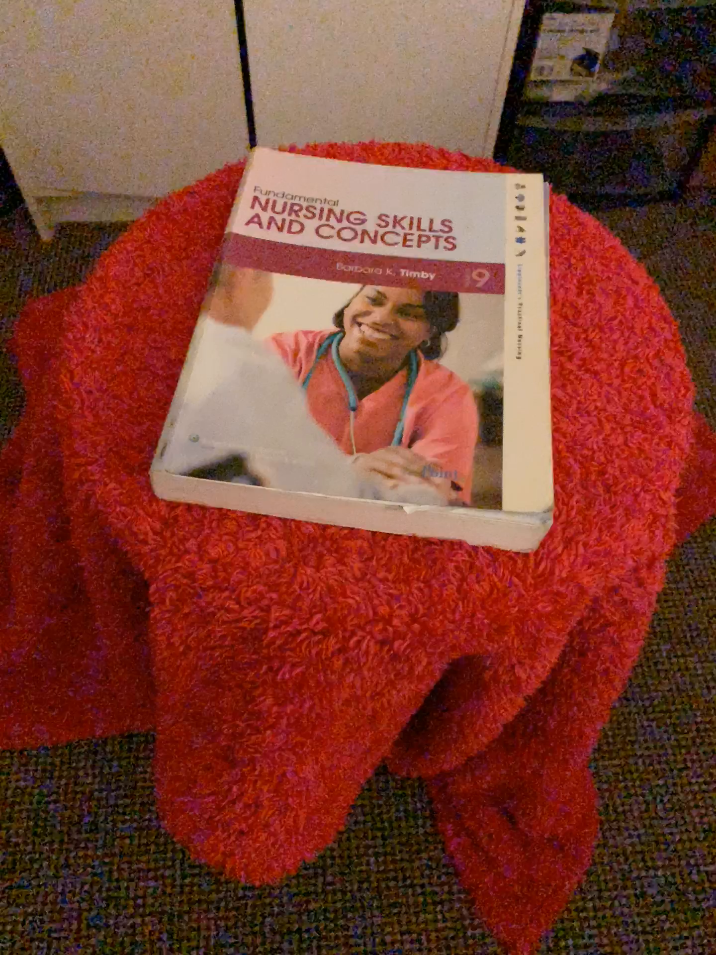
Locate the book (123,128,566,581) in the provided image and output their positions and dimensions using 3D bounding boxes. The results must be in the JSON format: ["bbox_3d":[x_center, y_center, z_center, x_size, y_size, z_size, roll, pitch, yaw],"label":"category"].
[{"bbox_3d":[0.009,-0.098,0.487,0.230,0.070,0.302,7,58,2],"label":"book"}]
